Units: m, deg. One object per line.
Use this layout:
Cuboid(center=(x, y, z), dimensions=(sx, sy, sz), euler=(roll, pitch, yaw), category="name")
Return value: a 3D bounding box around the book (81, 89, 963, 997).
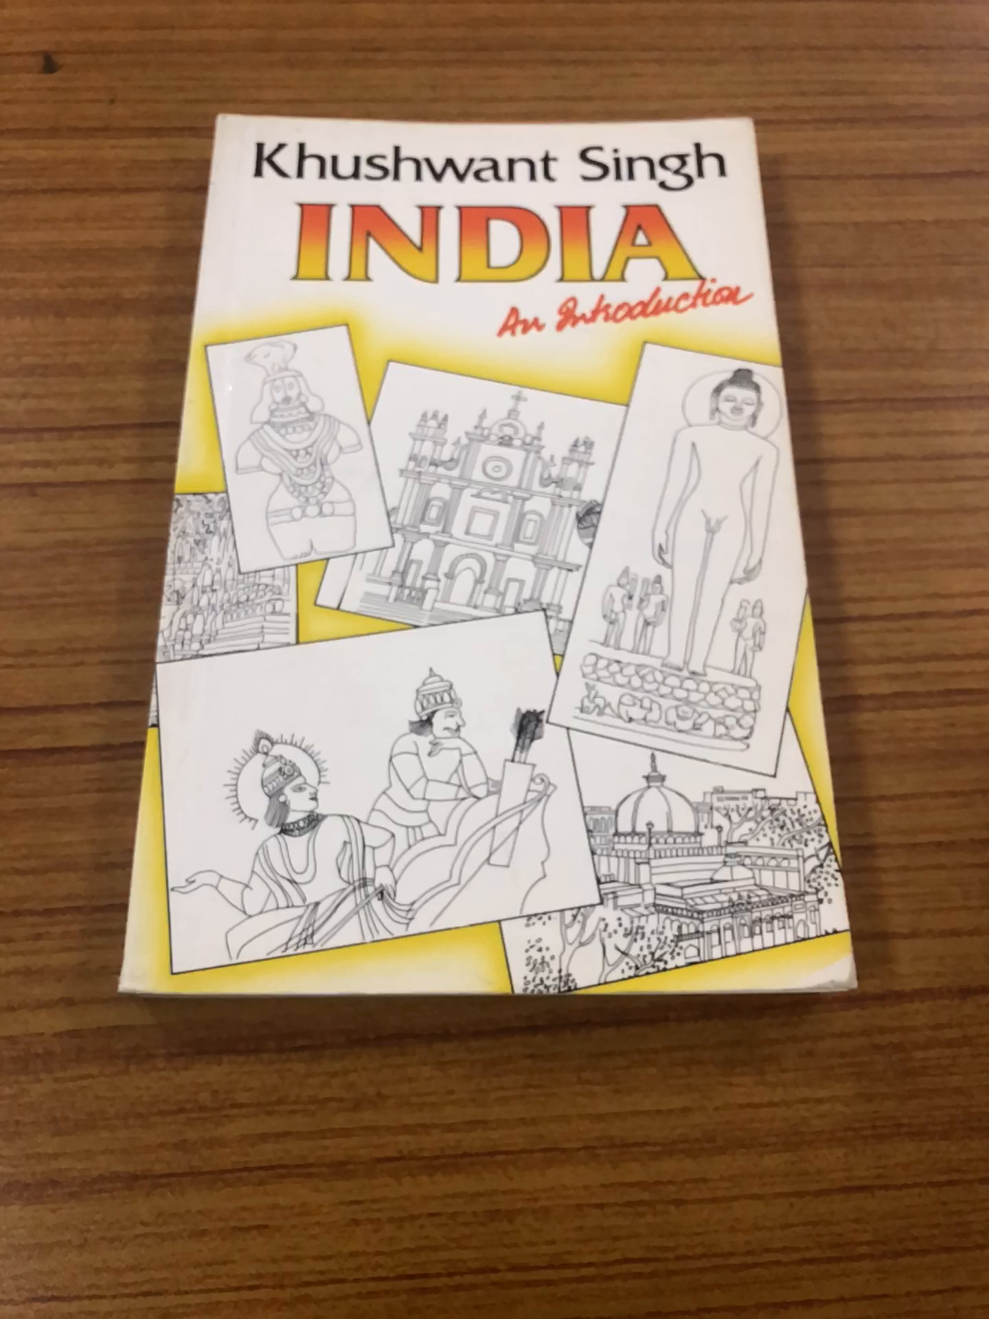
Cuboid(center=(0.005, -0.033, 0.222), dimensions=(0.140, 0.020, 0.190), euler=(1, 68, -2), category="book")
